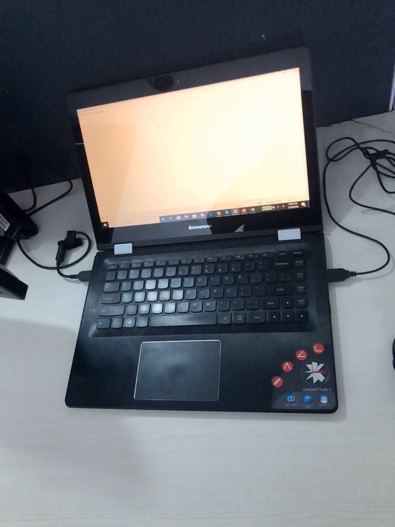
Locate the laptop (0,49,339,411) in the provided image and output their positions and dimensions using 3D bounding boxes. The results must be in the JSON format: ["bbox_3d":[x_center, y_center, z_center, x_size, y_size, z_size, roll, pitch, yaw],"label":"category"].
[{"bbox_3d":[-0.020,-0.038,0.537,0.334,0.171,0.387,-5,58,16],"label":"laptop"}]
